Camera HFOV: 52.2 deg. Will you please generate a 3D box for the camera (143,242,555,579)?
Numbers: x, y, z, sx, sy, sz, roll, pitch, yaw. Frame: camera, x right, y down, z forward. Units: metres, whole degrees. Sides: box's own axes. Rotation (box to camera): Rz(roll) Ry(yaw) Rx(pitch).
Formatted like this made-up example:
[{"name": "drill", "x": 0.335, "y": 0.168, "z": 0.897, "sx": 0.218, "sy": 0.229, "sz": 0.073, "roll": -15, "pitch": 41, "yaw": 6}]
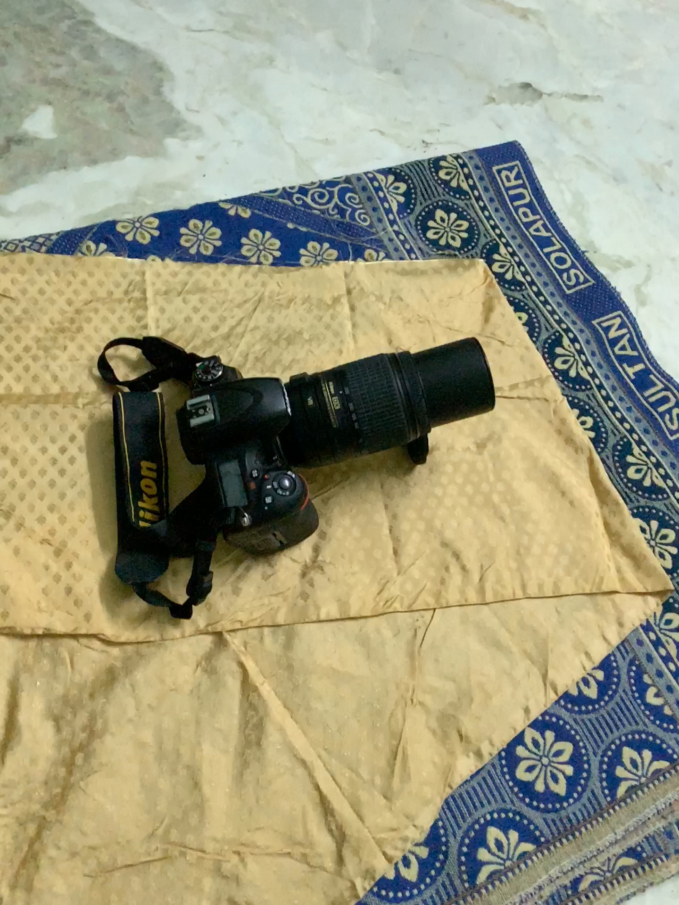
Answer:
[{"name": "camera", "x": 0.005, "y": -0.020, "z": 0.534, "sx": 0.240, "sy": 0.180, "sz": 0.140, "roll": -15, "pitch": 67, "yaw": -3}]
